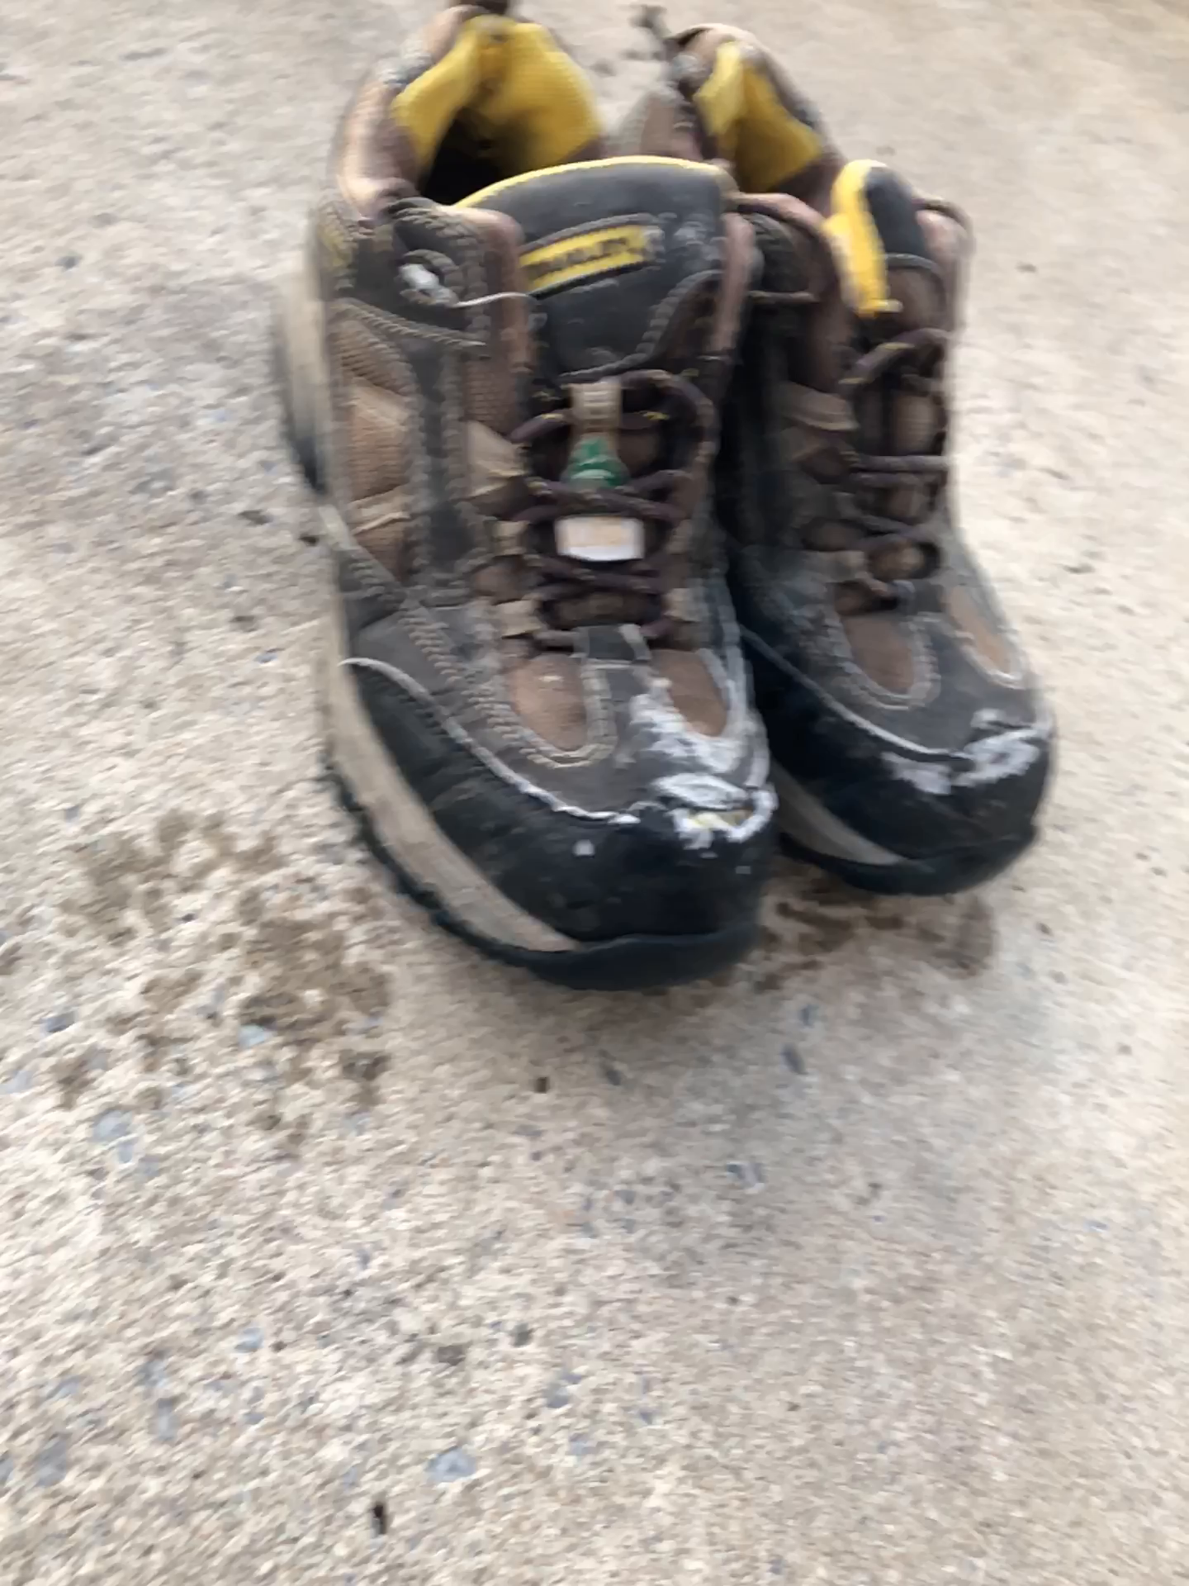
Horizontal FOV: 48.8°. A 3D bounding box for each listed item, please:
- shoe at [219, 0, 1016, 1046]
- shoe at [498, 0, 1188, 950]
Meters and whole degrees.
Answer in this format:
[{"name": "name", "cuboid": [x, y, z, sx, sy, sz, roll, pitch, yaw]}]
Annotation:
[{"name": "shoe", "cuboid": [-0.019, -0.082, 0.362, 0.100, 0.149, 0.251, -7, 67, -27]}, {"name": "shoe", "cuboid": [0.081, -0.096, 0.428, 0.120, 0.169, 0.231, -7, 67, -27]}]
